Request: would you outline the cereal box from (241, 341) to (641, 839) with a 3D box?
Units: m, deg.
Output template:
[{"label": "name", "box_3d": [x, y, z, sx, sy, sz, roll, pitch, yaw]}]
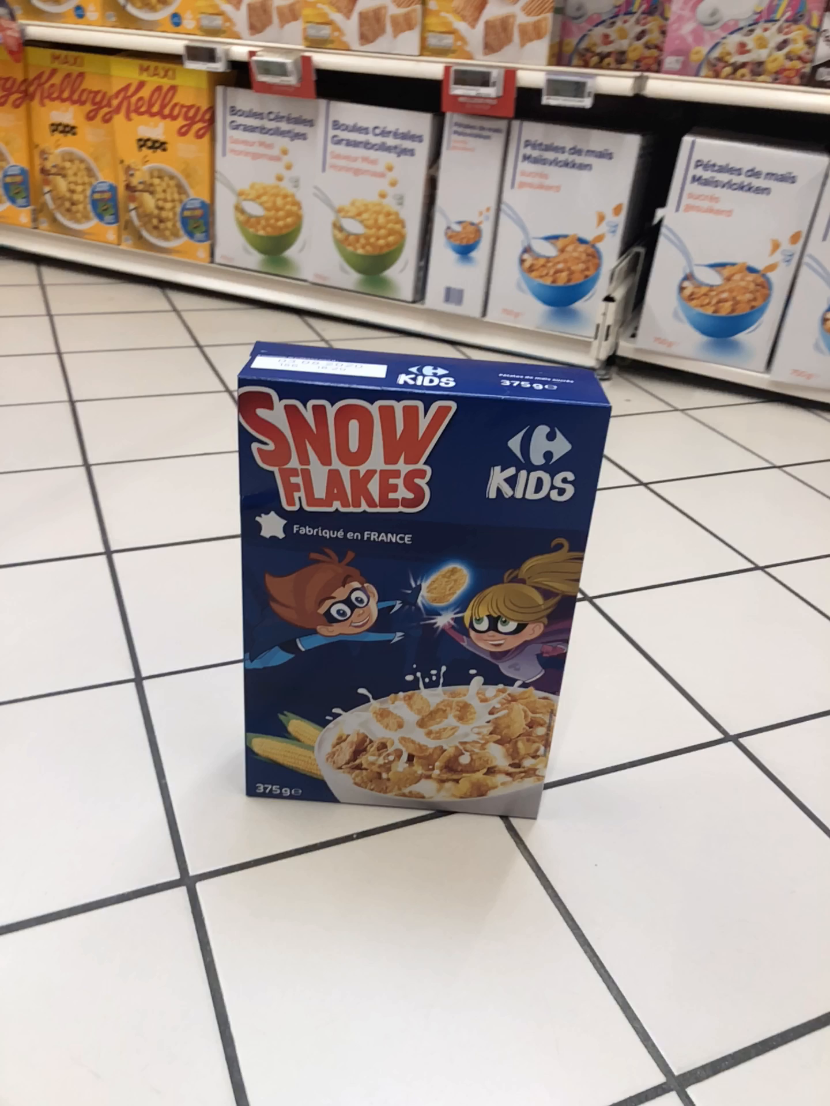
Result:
[{"label": "cereal box", "box_3d": [0.005, 0.032, 0.559, 0.200, 0.288, 0.080, 5, 29, 0]}]
